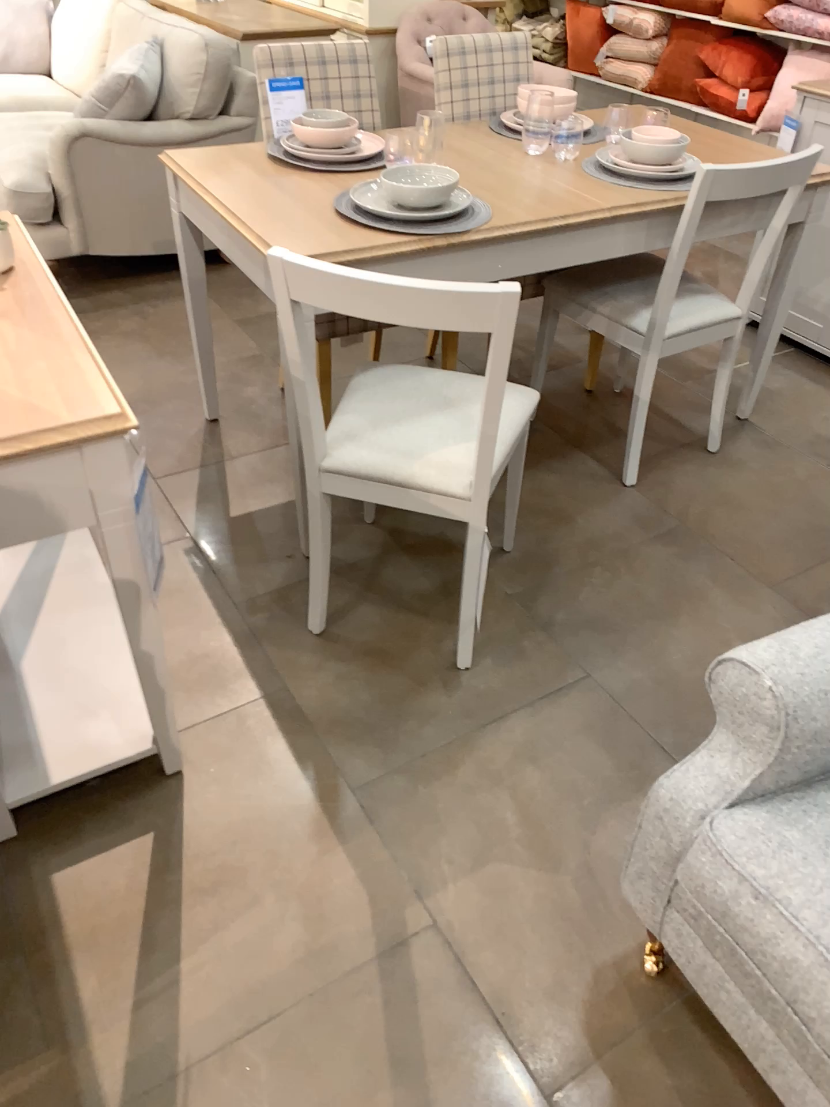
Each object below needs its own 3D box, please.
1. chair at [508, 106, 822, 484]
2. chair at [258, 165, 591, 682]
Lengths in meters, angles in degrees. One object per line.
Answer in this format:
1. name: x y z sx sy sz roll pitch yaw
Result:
1. chair: 0.638 -0.726 2.350 0.431 0.817 0.538 -21 44 -26
2. chair: 0.033 -0.263 1.711 0.460 0.817 0.539 11 39 10
